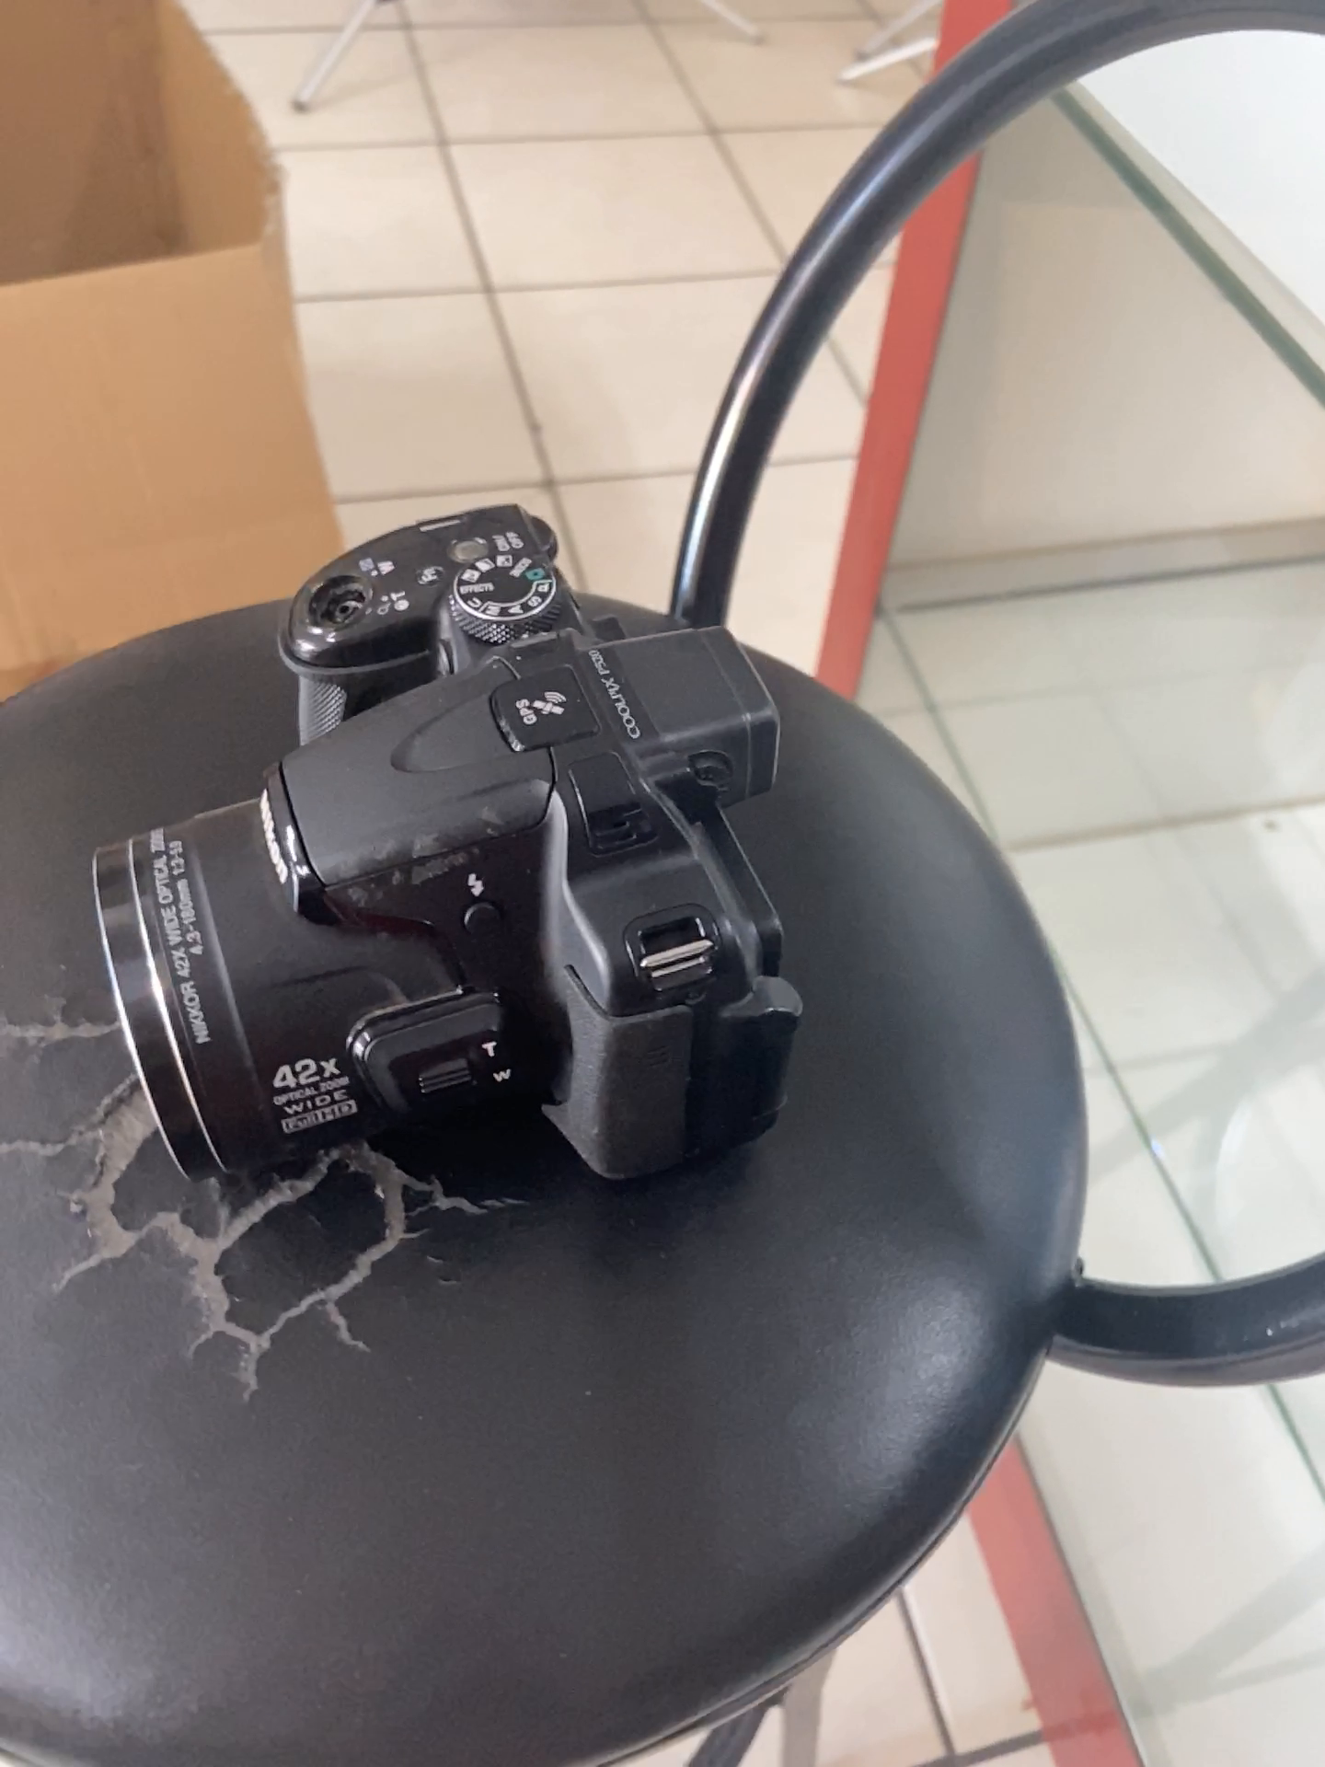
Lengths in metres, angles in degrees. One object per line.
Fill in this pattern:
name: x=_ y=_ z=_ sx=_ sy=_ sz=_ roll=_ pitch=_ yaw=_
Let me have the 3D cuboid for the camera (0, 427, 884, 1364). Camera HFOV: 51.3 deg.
camera: x=-0.049 y=-0.007 z=0.251 sx=0.120 sy=0.070 sz=0.130 roll=-15 pitch=54 yaw=-16
